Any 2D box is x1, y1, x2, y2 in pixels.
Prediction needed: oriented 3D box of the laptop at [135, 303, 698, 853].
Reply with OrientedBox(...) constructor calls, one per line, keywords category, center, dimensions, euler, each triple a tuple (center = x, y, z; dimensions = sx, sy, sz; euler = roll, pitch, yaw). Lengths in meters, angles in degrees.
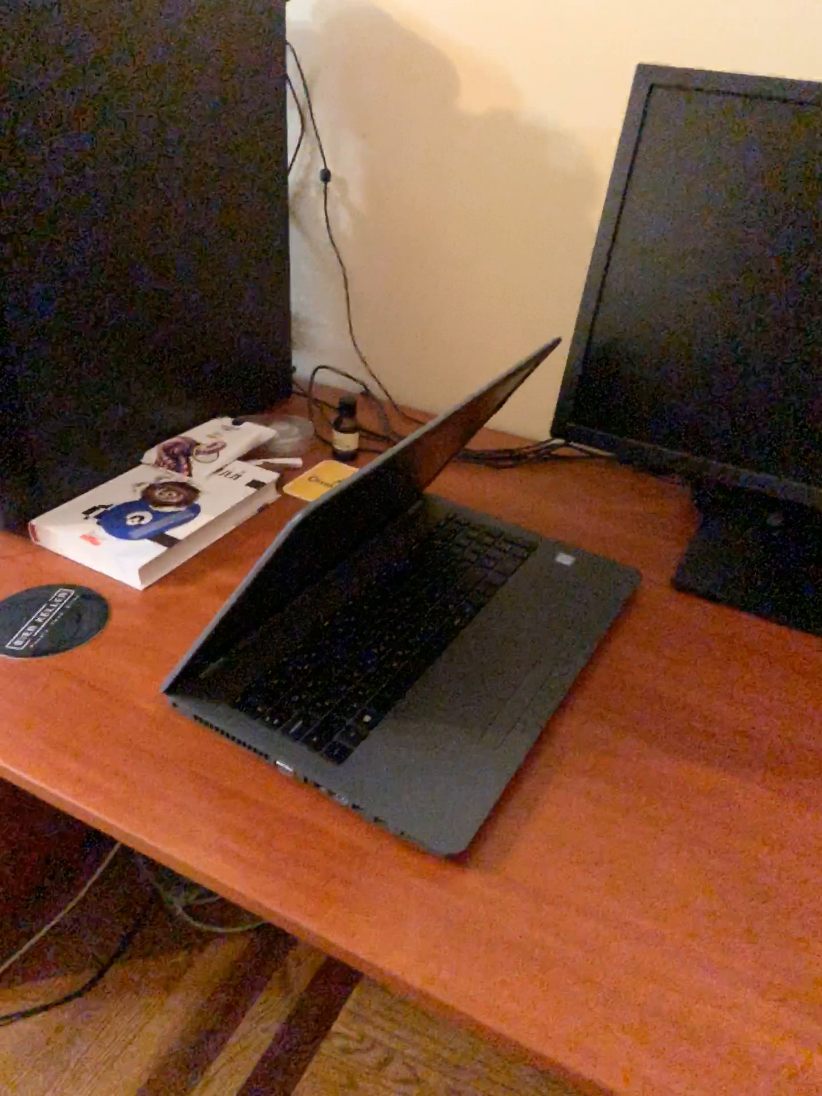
OrientedBox(category="laptop", center=(0.026, -0.020, 0.657), dimensions=(0.249, 0.208, 0.376), euler=(21, 37, 24))
